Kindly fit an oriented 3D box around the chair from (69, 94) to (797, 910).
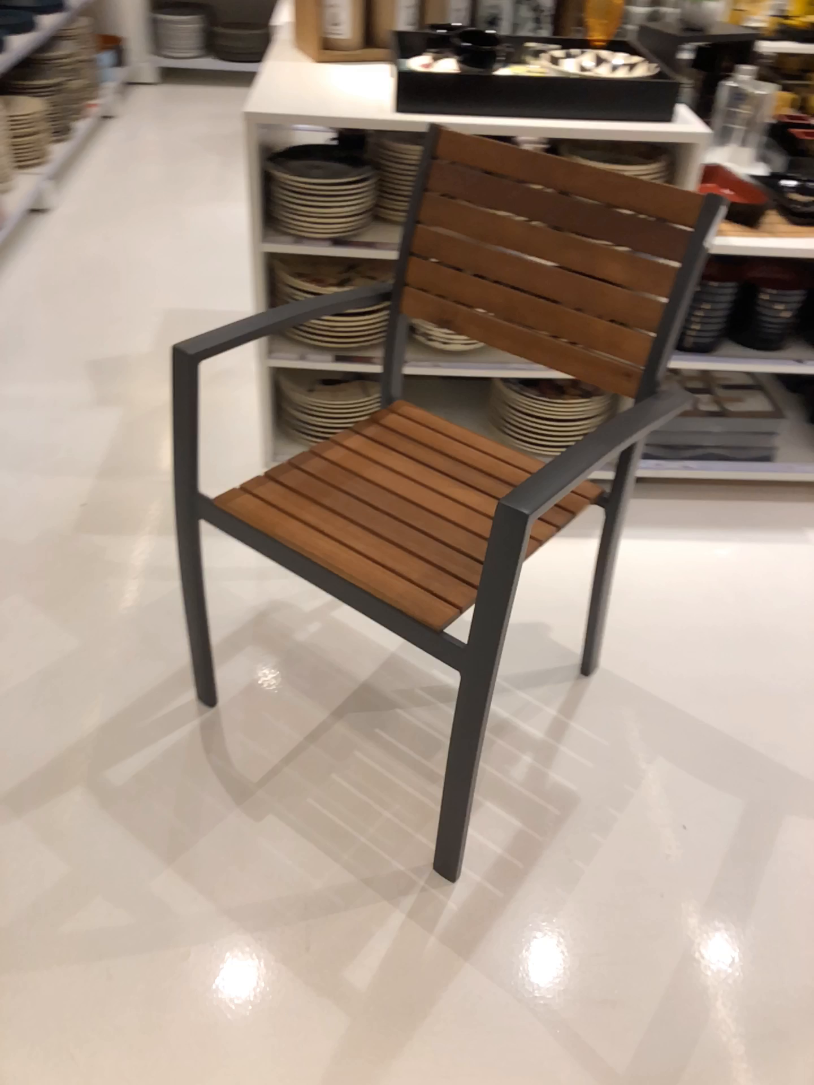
[{"bbox_3d":[0.024,-0.085,1.212,0.592,0.783,0.533,28,44,28],"label":"chair"}]
